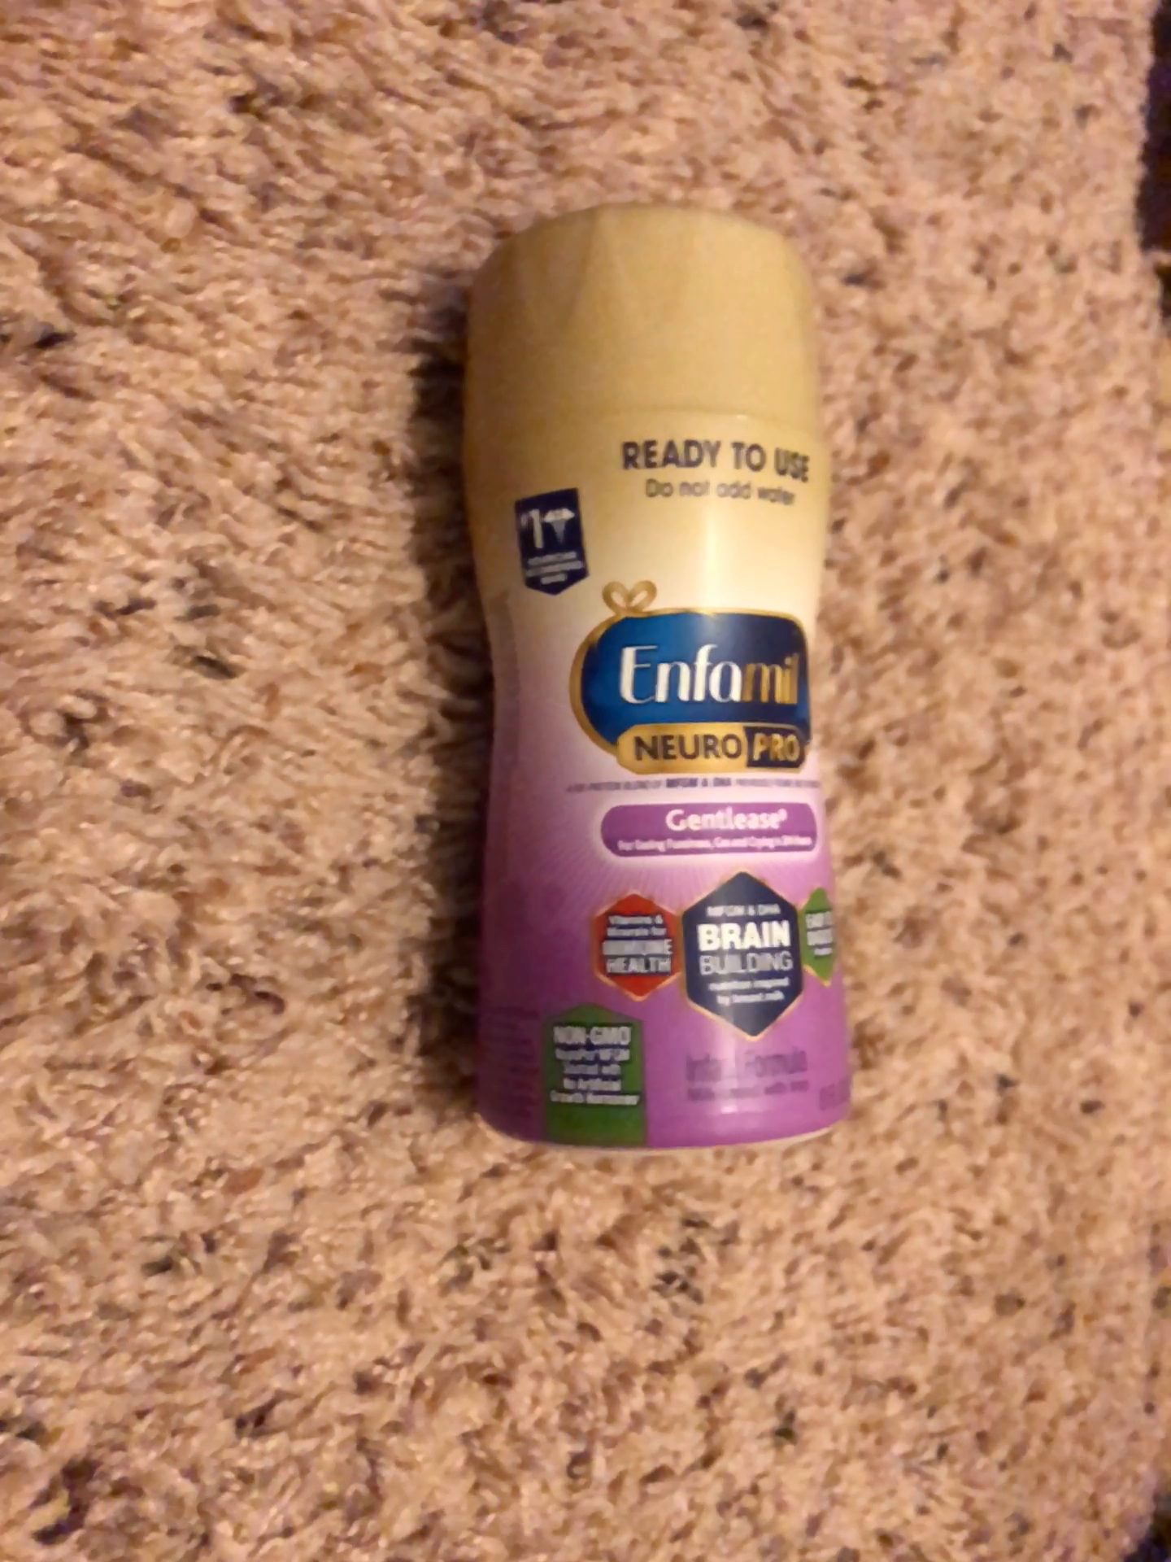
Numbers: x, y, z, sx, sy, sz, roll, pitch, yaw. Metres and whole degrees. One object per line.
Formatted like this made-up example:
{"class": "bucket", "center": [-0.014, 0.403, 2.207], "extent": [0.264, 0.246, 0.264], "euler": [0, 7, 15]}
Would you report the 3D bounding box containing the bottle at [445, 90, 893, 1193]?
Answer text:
{"class": "bottle", "center": [0.009, -0.019, 0.213], "extent": [0.060, 0.060, 0.150], "euler": [-1, 88, -7]}
